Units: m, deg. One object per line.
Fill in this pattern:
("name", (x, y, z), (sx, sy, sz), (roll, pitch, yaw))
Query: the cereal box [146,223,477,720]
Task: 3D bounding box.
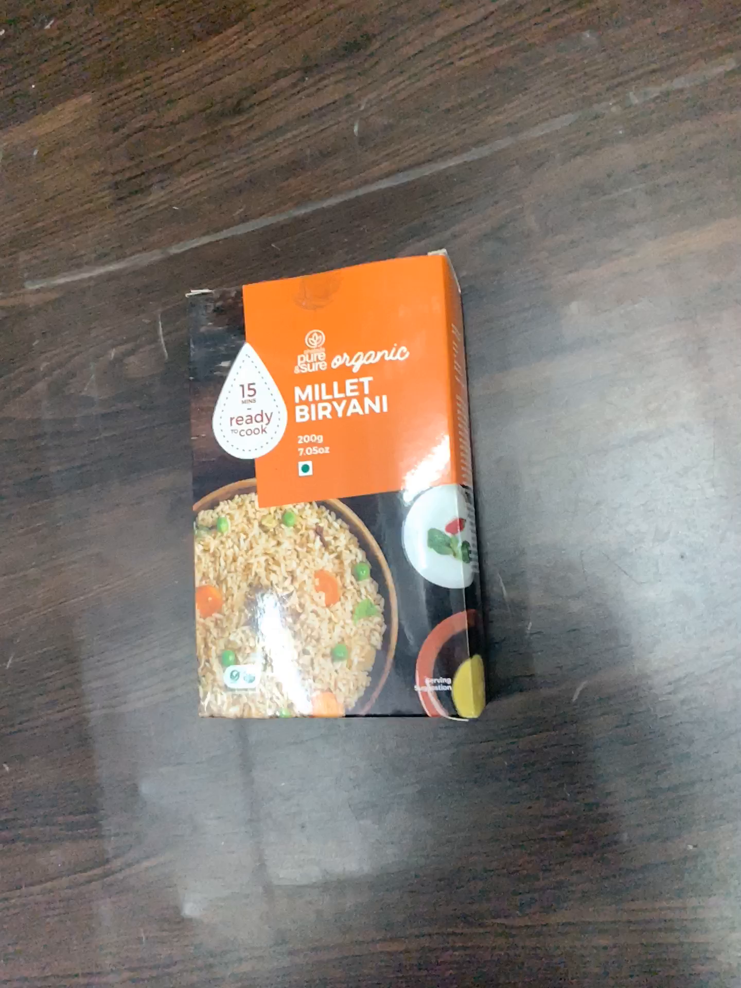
("cereal box", (-0.023, -0.005, 0.299), (0.110, 0.050, 0.170), (-5, 83, 13))
